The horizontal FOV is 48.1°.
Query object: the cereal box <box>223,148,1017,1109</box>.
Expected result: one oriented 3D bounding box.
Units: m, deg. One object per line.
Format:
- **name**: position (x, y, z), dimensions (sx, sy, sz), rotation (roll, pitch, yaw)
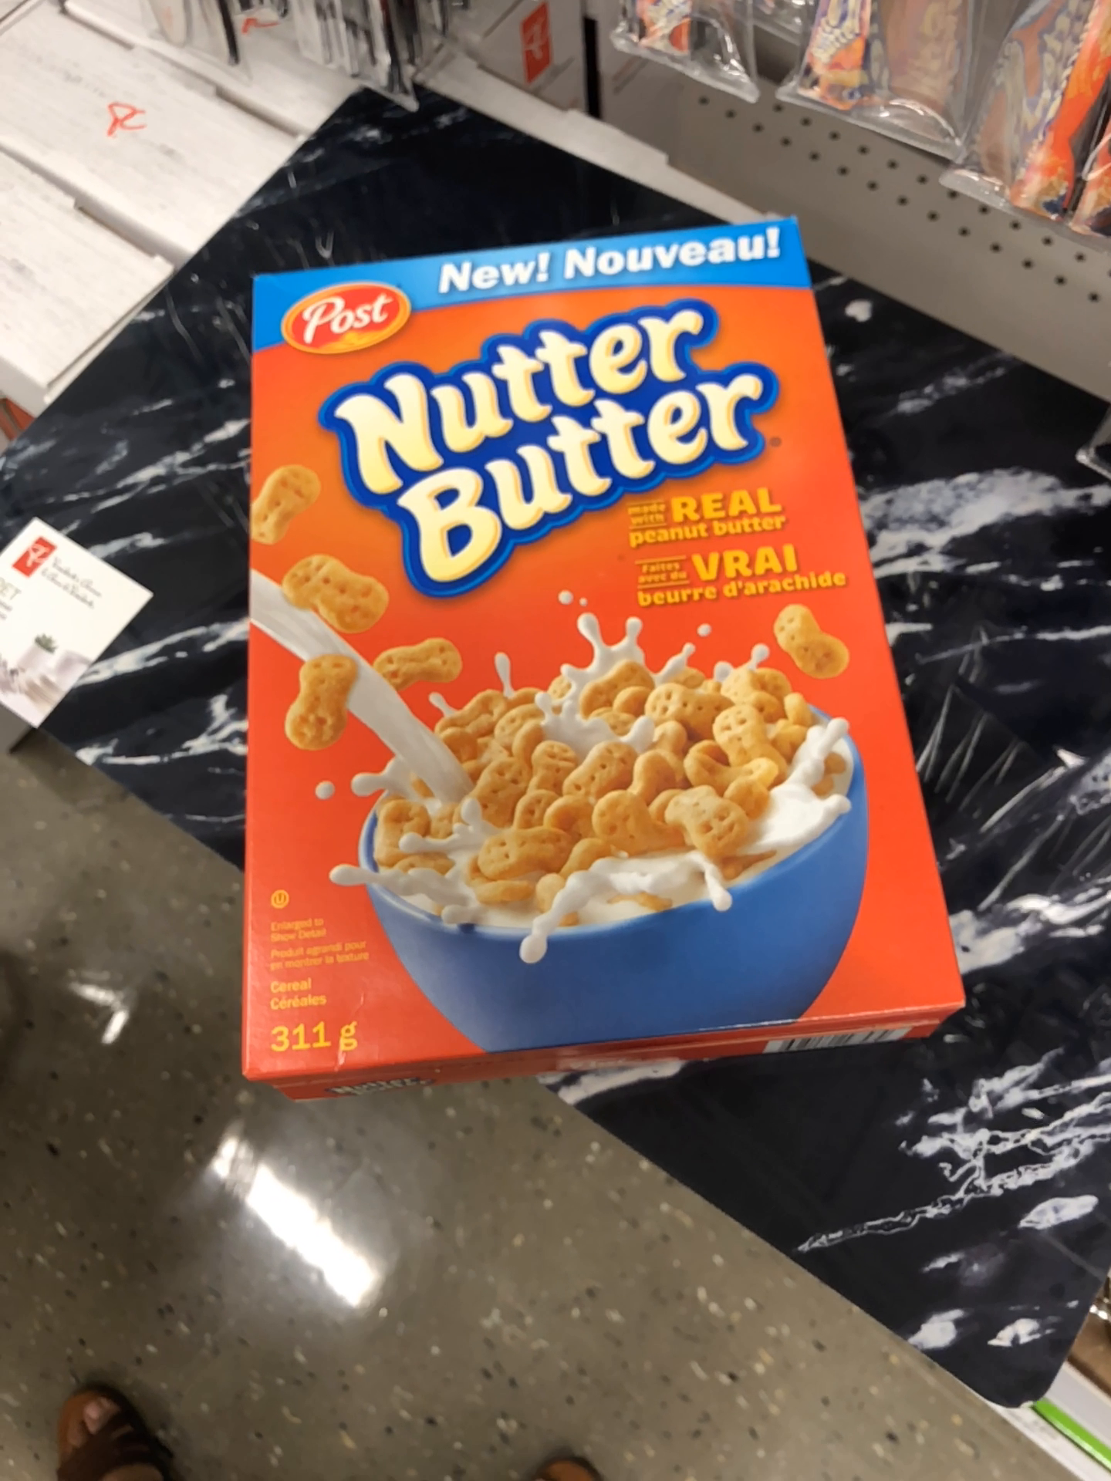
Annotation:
- **cereal box**: position (0.005, -0.047, 0.406), dimensions (0.210, 0.050, 0.300), rotation (-6, 68, 3)
